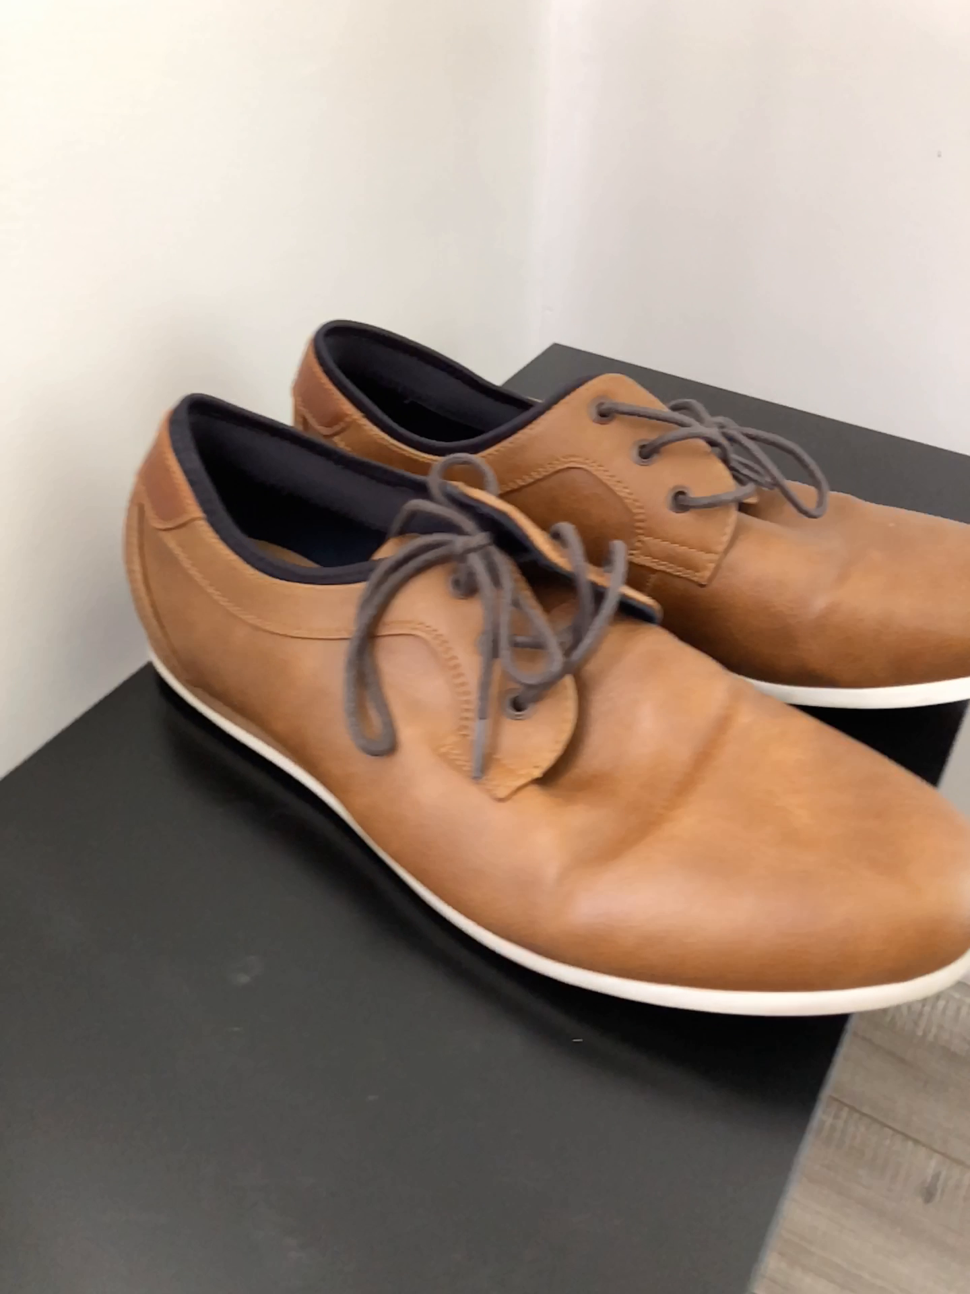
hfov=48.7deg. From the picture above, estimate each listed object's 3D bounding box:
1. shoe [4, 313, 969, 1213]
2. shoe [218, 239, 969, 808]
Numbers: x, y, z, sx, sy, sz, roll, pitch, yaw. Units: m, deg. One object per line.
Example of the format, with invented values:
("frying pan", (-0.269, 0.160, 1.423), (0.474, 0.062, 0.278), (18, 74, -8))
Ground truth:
("shoe", (0.007, 0.007, 0.298), (0.271, 0.100, 0.104), (26, 46, 26))
("shoe", (0.058, -0.057, 0.387), (0.280, 0.100, 0.104), (17, 43, 18))
